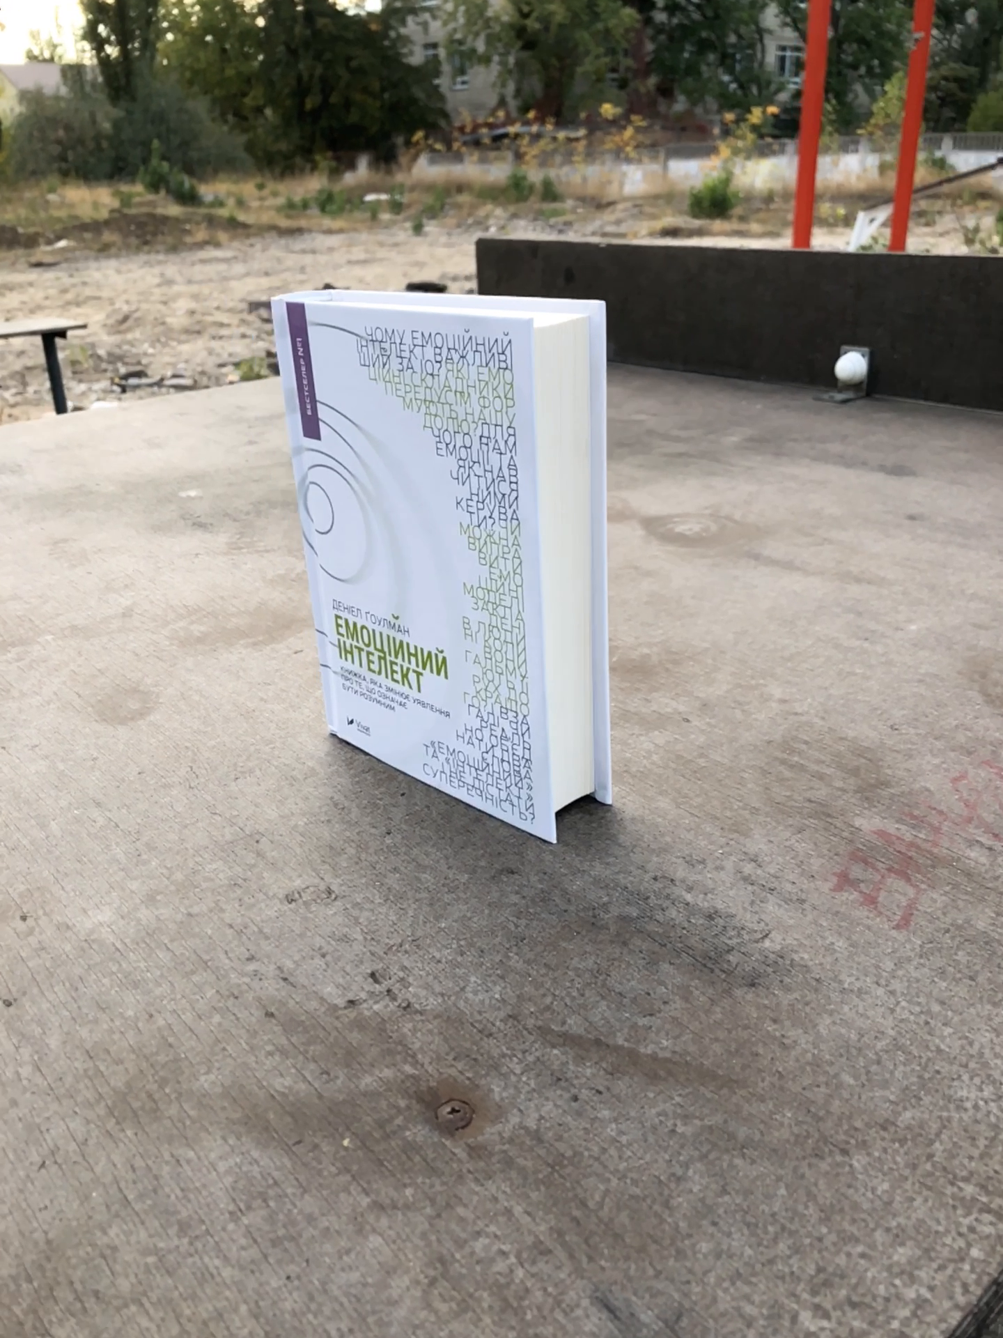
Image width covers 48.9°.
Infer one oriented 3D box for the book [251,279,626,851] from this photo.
[{"bbox_3d":[-0.026,-0.051,0.472,0.160,0.209,0.050,20,32,40],"label":"book"}]
